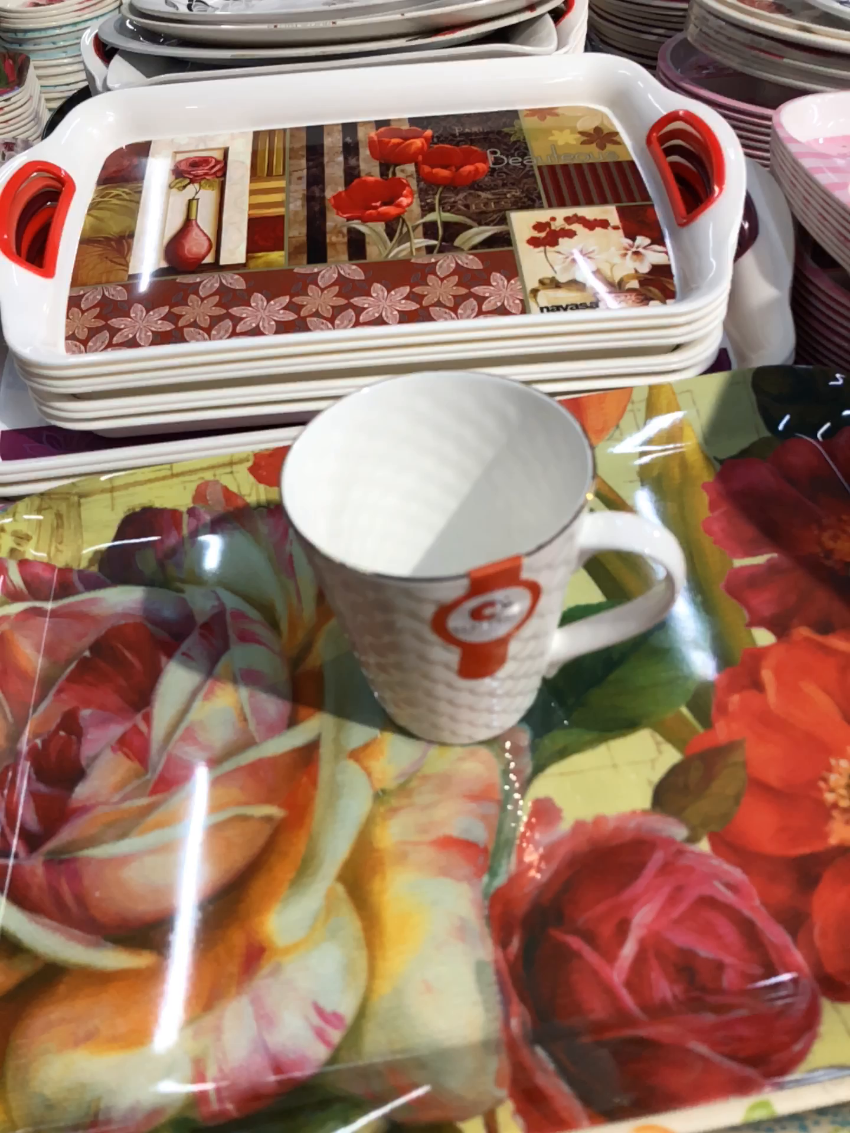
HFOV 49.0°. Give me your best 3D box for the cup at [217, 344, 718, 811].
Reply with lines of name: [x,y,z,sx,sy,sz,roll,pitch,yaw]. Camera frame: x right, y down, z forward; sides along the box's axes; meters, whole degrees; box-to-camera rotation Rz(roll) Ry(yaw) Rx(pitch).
cup: [0.019,0.000,0.287,0.120,0.089,0.101,5,44,10]
